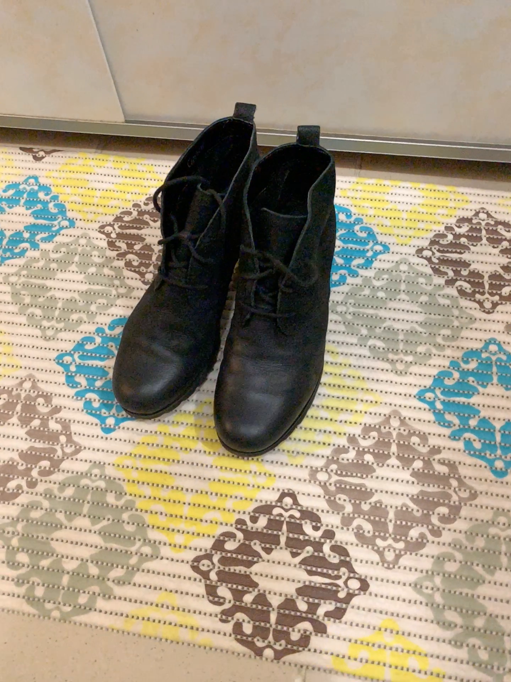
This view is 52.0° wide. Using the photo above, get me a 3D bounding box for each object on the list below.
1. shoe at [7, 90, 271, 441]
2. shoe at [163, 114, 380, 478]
[{"bbox_3d":[-0.070,-0.059,0.435,0.090,0.150,0.230,19,66,11],"label":"shoe"},{"bbox_3d":[0.022,-0.032,0.415,0.090,0.150,0.230,13,65,8],"label":"shoe"}]
